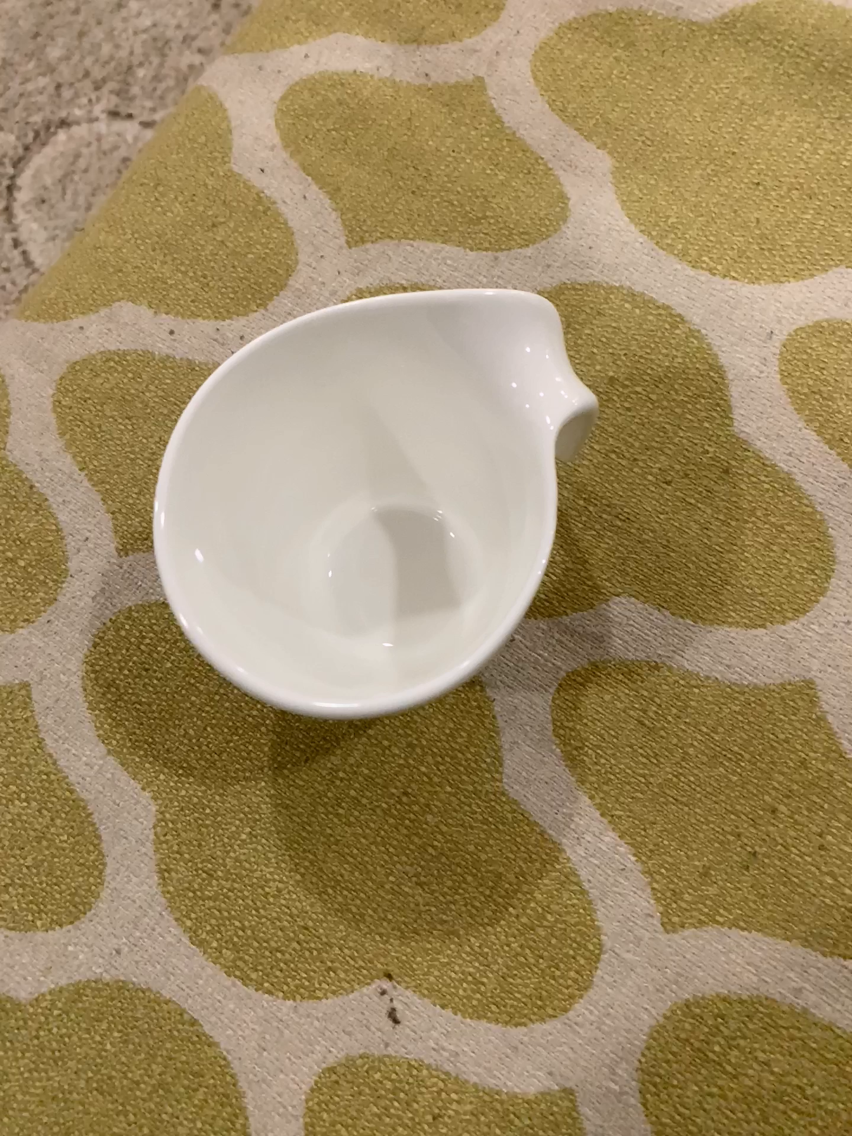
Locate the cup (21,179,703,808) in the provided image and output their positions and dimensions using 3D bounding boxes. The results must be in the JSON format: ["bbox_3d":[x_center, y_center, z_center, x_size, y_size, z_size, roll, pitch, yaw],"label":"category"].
[{"bbox_3d":[-0.012,-0.010,0.214,0.108,0.079,0.089,-30,75,-2],"label":"cup"}]
